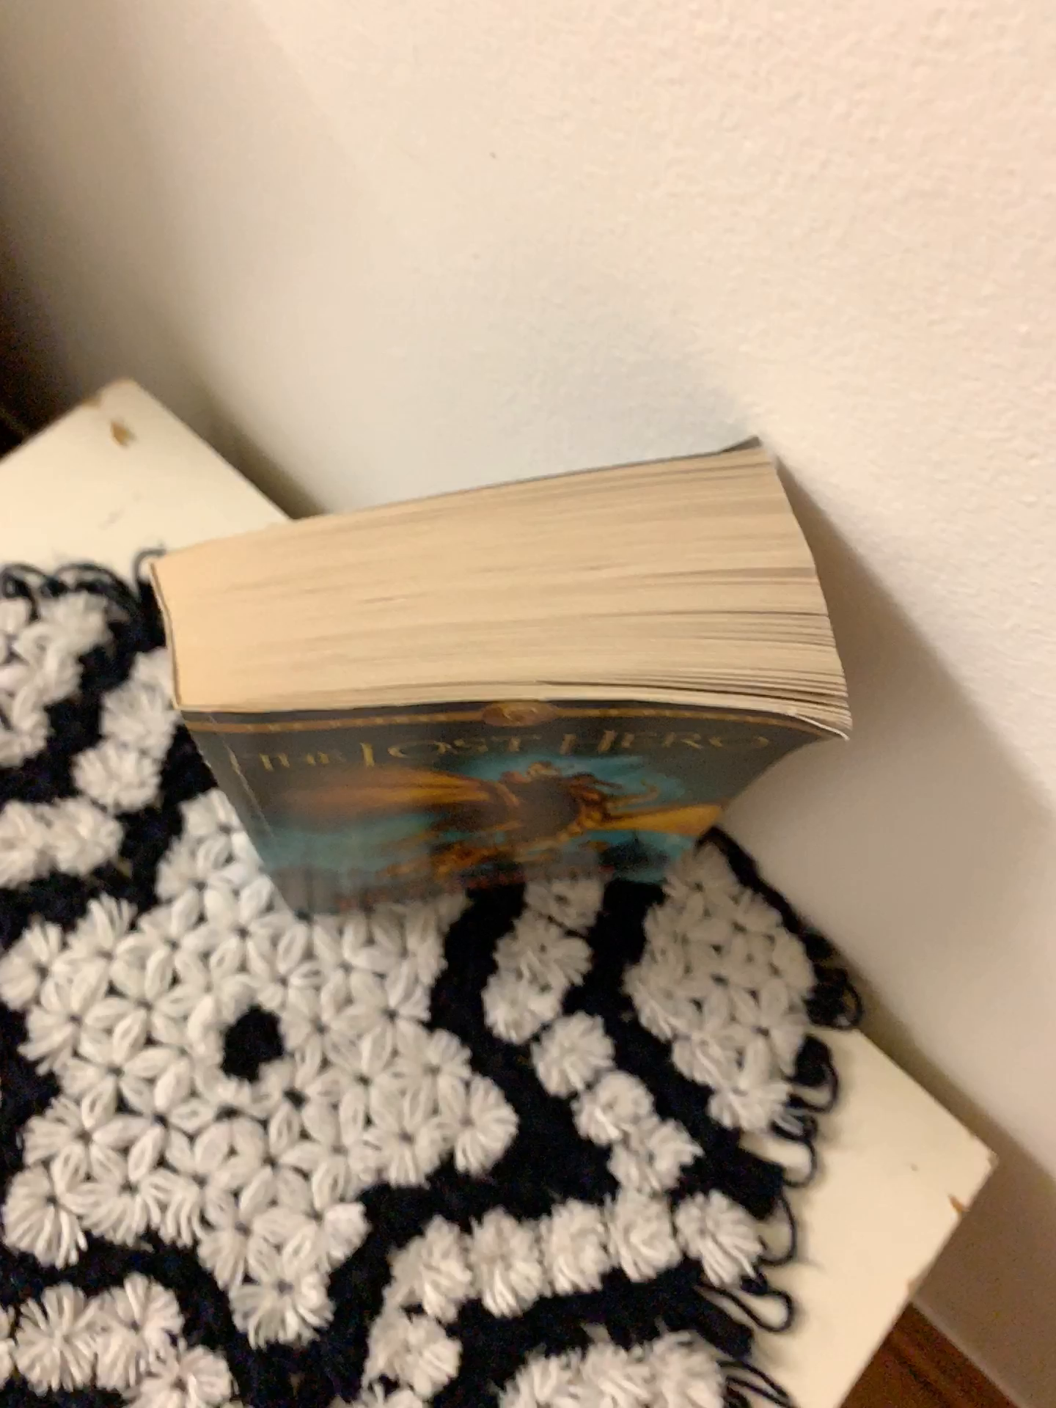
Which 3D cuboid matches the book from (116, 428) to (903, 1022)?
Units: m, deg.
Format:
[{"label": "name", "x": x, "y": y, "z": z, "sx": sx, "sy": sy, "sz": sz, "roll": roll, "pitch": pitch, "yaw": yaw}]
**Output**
[{"label": "book", "x": -0.012, "y": 0.020, "z": 0.293, "sx": 0.142, "sy": 0.177, "sz": 0.068, "roll": -9, "pitch": 65, "yaw": -10}]
